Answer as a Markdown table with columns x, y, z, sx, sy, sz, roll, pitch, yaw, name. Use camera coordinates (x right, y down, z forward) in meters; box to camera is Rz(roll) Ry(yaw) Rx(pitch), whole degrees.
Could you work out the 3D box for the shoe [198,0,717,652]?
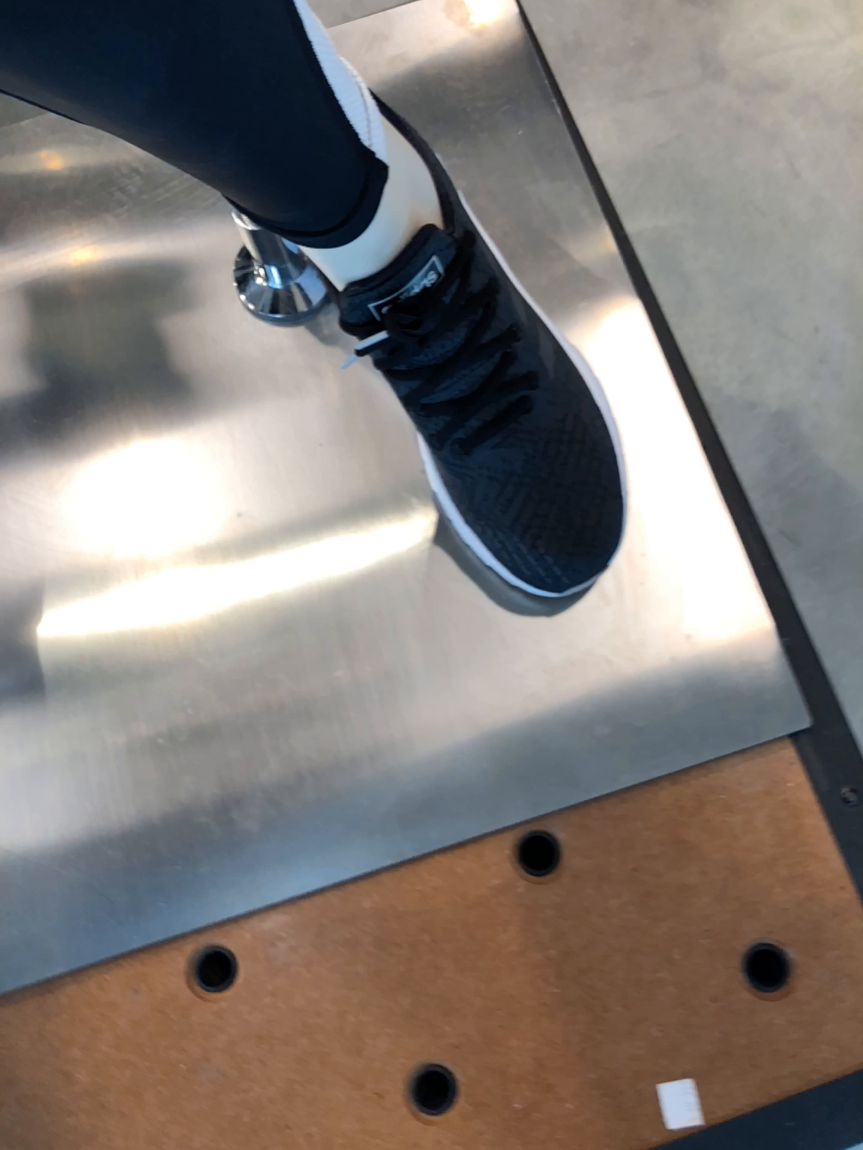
| x | y | z | sx | sy | sz | roll | pitch | yaw | name |
| --- | --- | --- | --- | --- | --- | --- | --- | --- | --- |
| 0.013 | -0.116 | 0.489 | 0.110 | 0.100 | 0.290 | -30 | 83 | 5 | shoe |
